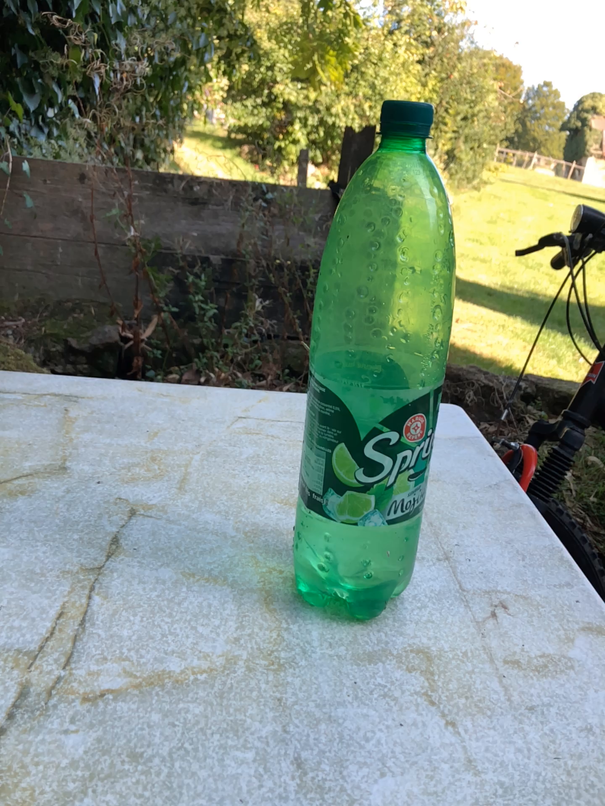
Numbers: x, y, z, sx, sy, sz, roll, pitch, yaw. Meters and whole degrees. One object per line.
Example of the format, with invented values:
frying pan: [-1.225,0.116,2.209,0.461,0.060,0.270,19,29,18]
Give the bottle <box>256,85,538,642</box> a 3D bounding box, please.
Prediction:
bottle: [0.049,-0.020,0.413,0.090,0.308,0.090,6,20,-2]
